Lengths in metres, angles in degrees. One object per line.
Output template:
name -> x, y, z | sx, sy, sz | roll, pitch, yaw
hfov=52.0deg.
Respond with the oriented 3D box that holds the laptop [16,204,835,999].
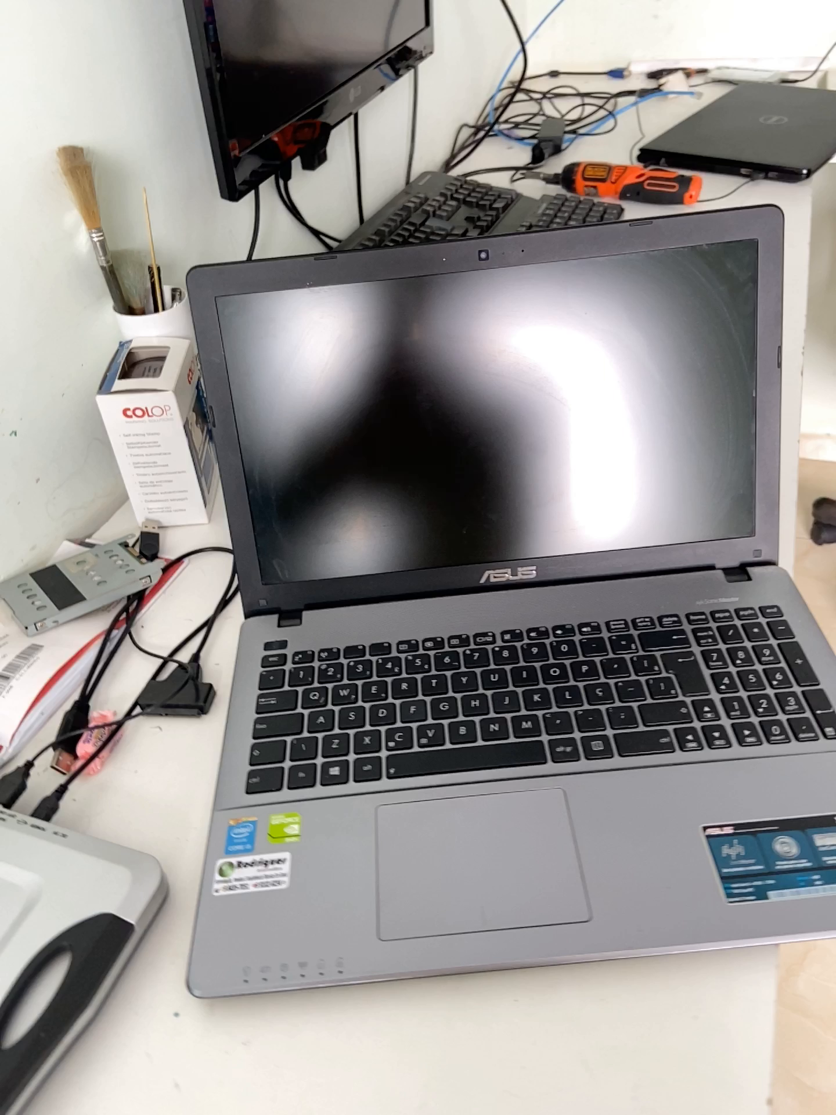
laptop -> 0.059, -0.006, 0.476 | 0.376, 0.213, 0.358 | -6, 40, 1
